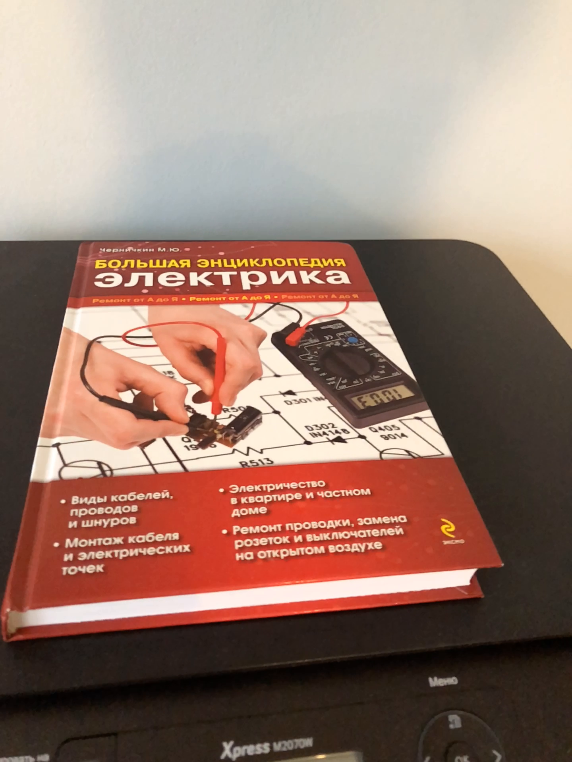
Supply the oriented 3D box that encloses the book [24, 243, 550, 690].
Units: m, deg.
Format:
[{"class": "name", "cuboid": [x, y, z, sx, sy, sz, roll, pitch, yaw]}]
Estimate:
[{"class": "book", "cuboid": [-0.012, 0.009, 0.305, 0.170, 0.040, 0.242, -2, 40, -9]}]
